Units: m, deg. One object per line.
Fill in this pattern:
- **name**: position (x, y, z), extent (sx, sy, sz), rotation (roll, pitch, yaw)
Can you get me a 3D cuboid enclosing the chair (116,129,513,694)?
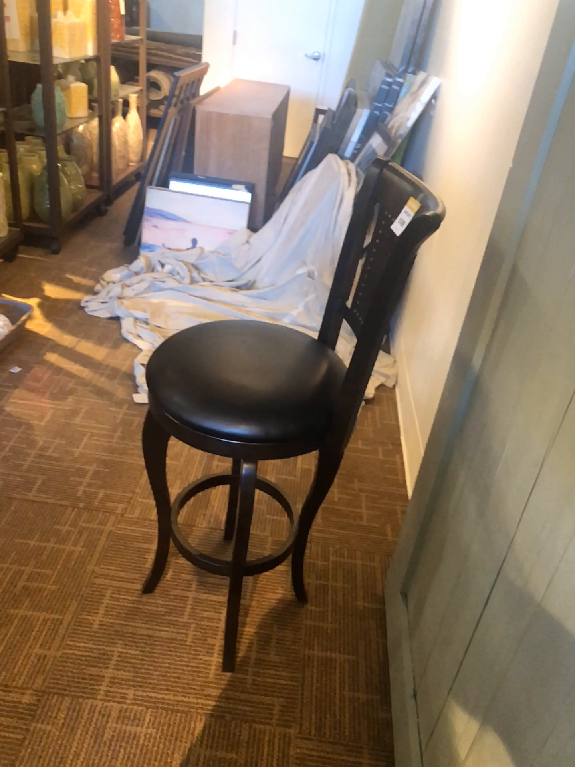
- **chair**: position (-0.025, 0.097, 1.492), extent (0.609, 1.150, 0.563), rotation (7, 31, -3)
